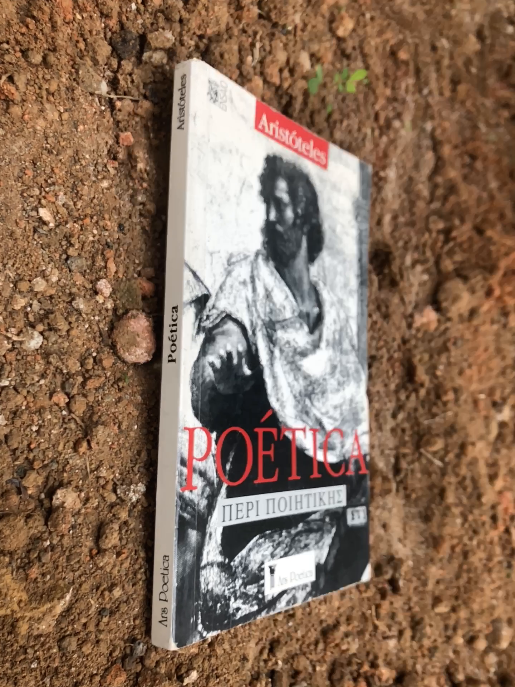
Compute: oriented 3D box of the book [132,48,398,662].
[{"bbox_3d":[0.015,0.005,0.230,0.131,0.015,0.189,9,80,-46],"label":"book"}]
